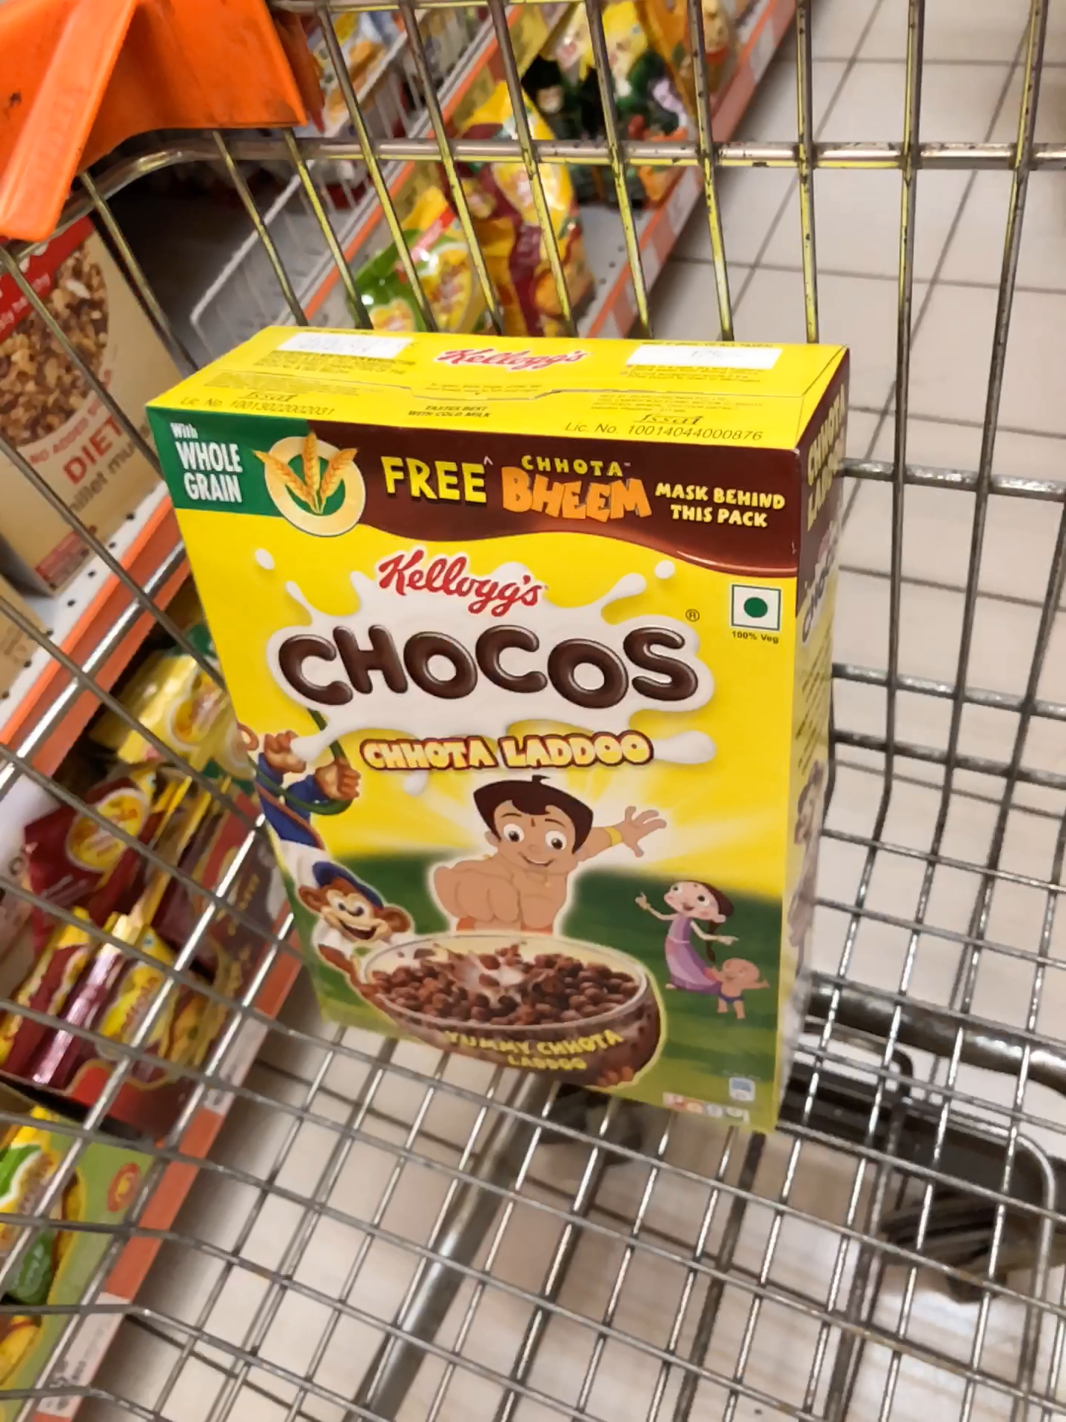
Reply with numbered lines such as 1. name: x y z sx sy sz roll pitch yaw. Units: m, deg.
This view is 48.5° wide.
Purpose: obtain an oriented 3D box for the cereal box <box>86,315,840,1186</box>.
1. cereal box: -0.008 0.014 0.374 0.180 0.249 0.080 8 35 21
